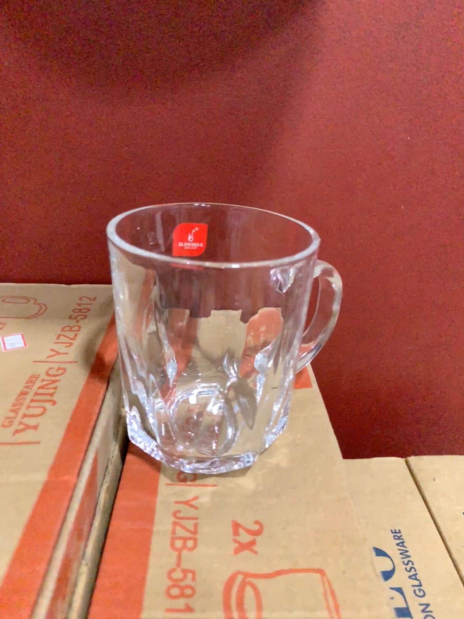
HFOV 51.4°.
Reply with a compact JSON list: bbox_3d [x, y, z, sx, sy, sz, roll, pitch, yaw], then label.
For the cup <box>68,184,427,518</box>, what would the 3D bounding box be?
[{"bbox_3d":[0.007,0.002,0.176,0.100,0.071,0.069,-19,32,-36],"label":"cup"}]
